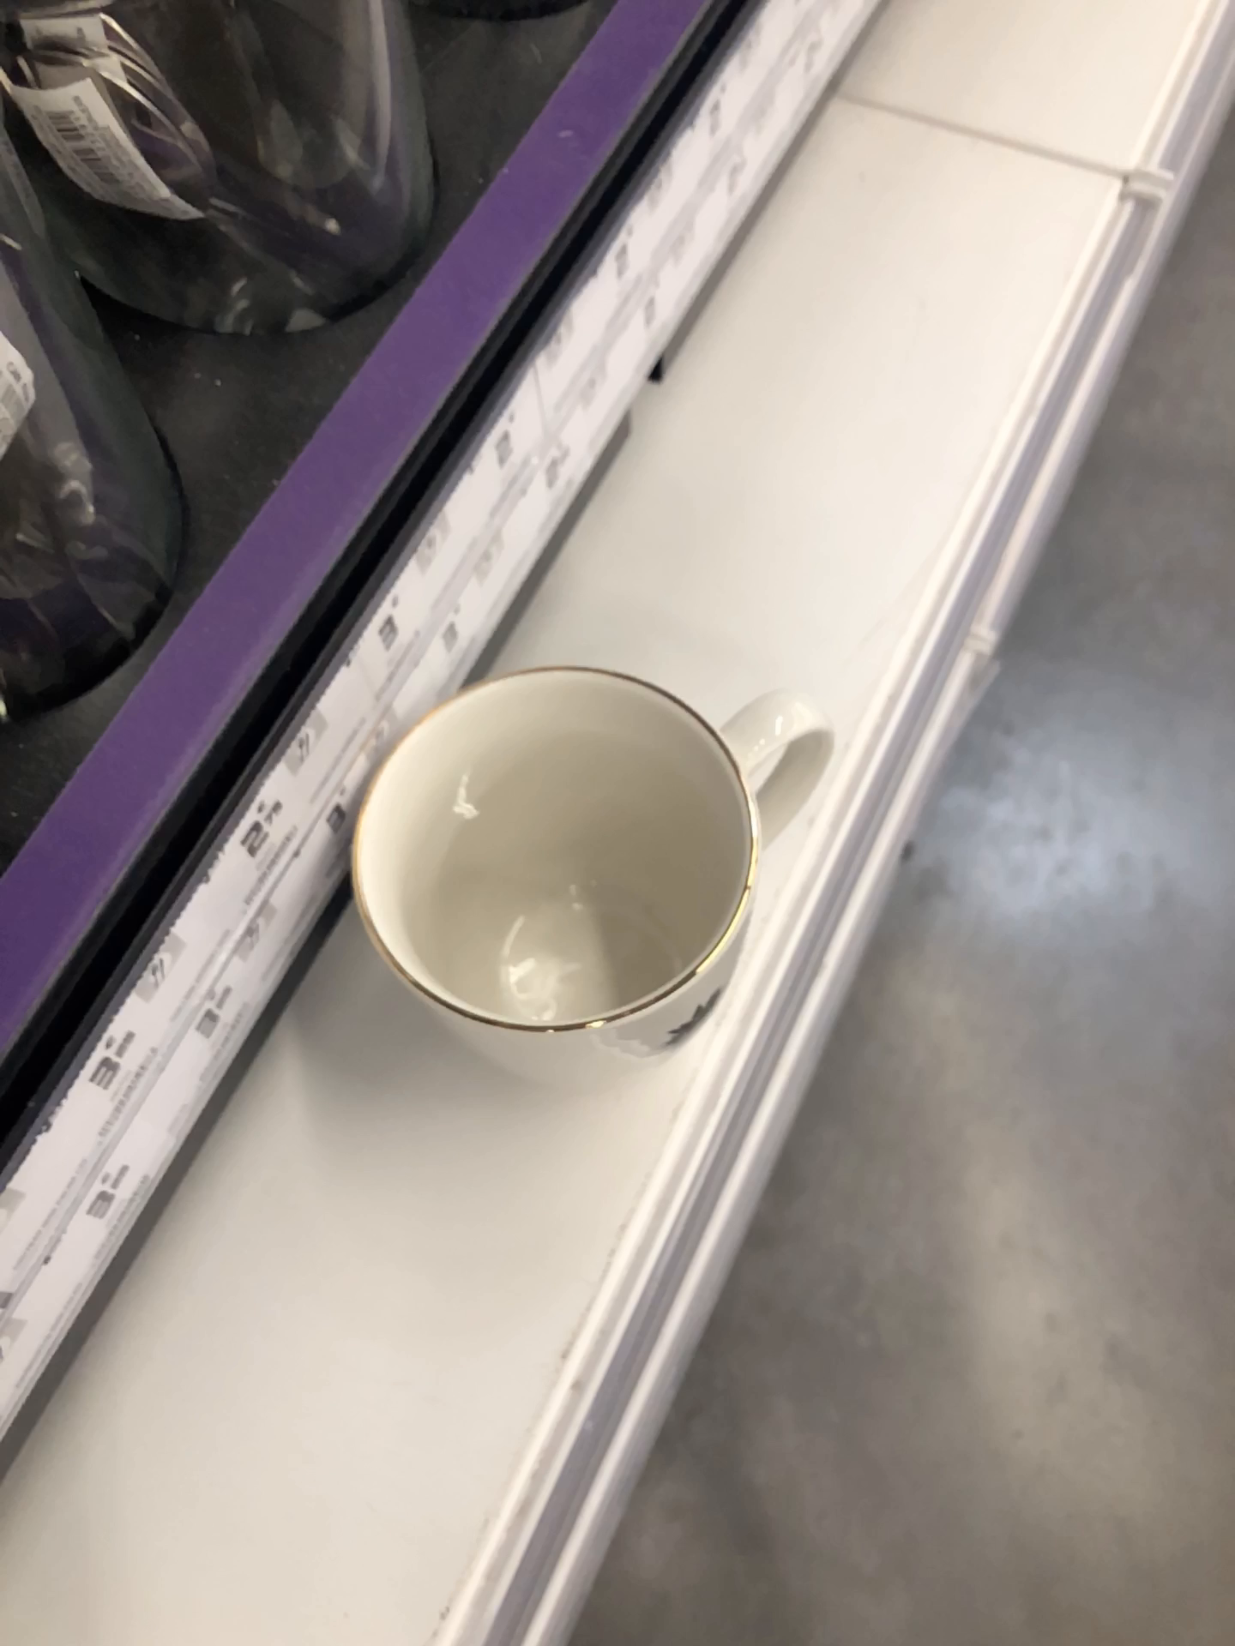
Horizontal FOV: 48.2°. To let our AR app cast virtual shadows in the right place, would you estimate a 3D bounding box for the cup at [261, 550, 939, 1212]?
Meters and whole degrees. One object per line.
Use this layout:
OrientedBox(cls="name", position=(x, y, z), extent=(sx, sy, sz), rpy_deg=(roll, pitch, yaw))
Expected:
OrientedBox(cls="cup", position=(-0.002, 0.018, 0.329), extent=(0.114, 0.093, 0.082), rpy_deg=(-35, 71, -11))
